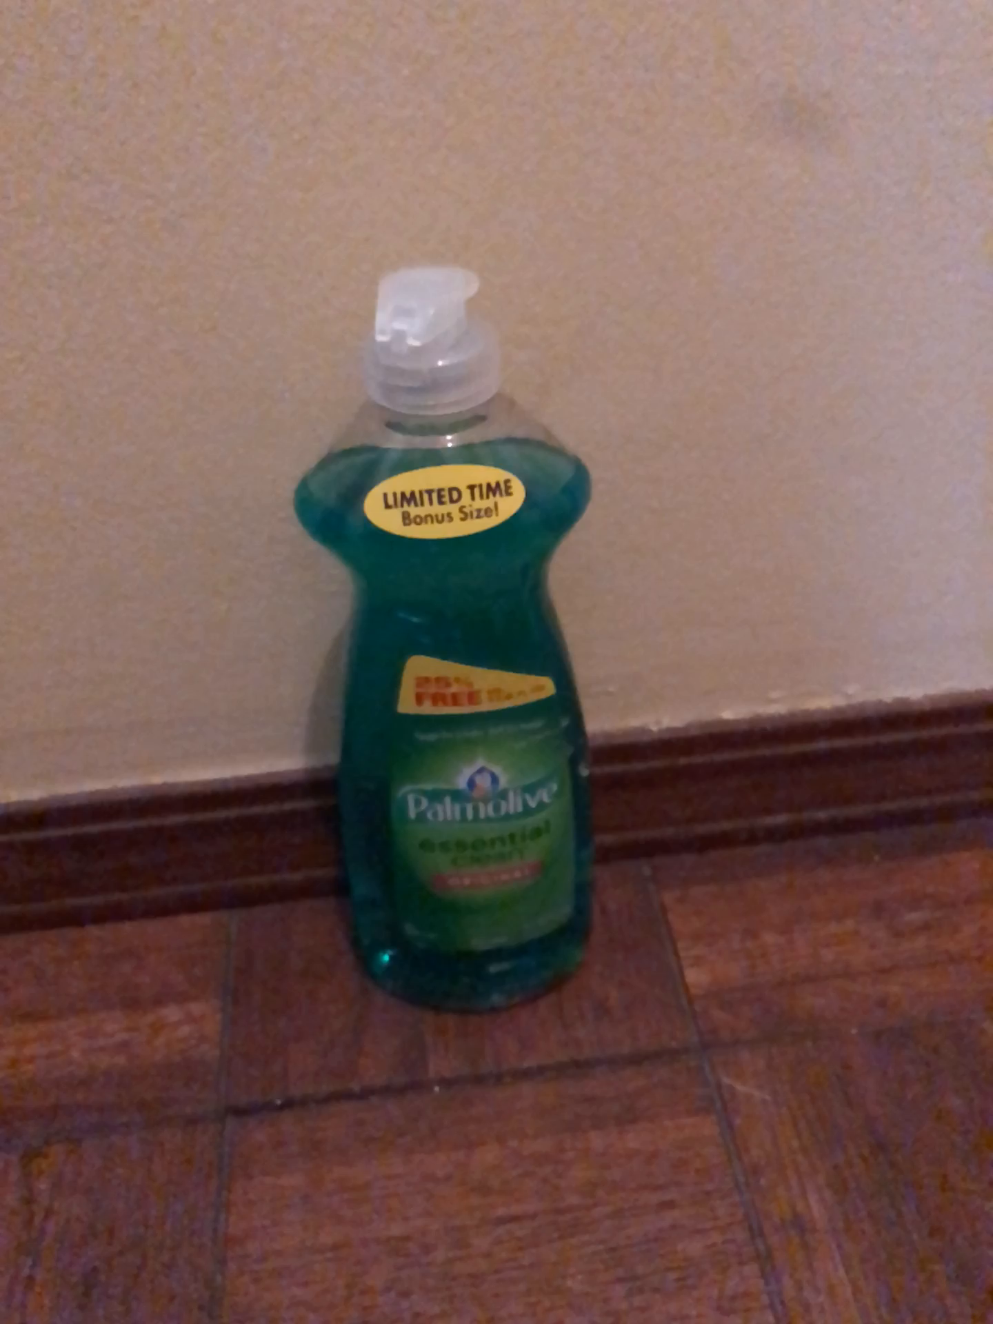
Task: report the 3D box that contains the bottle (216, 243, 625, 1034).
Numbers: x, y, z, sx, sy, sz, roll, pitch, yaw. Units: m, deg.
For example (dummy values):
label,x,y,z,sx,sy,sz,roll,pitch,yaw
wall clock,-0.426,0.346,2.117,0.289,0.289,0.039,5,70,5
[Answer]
label,x,y,z,sx,sy,sz,roll,pitch,yaw
bottle,-0.013,0.012,0.308,0.080,0.229,0.050,-7,40,-5
